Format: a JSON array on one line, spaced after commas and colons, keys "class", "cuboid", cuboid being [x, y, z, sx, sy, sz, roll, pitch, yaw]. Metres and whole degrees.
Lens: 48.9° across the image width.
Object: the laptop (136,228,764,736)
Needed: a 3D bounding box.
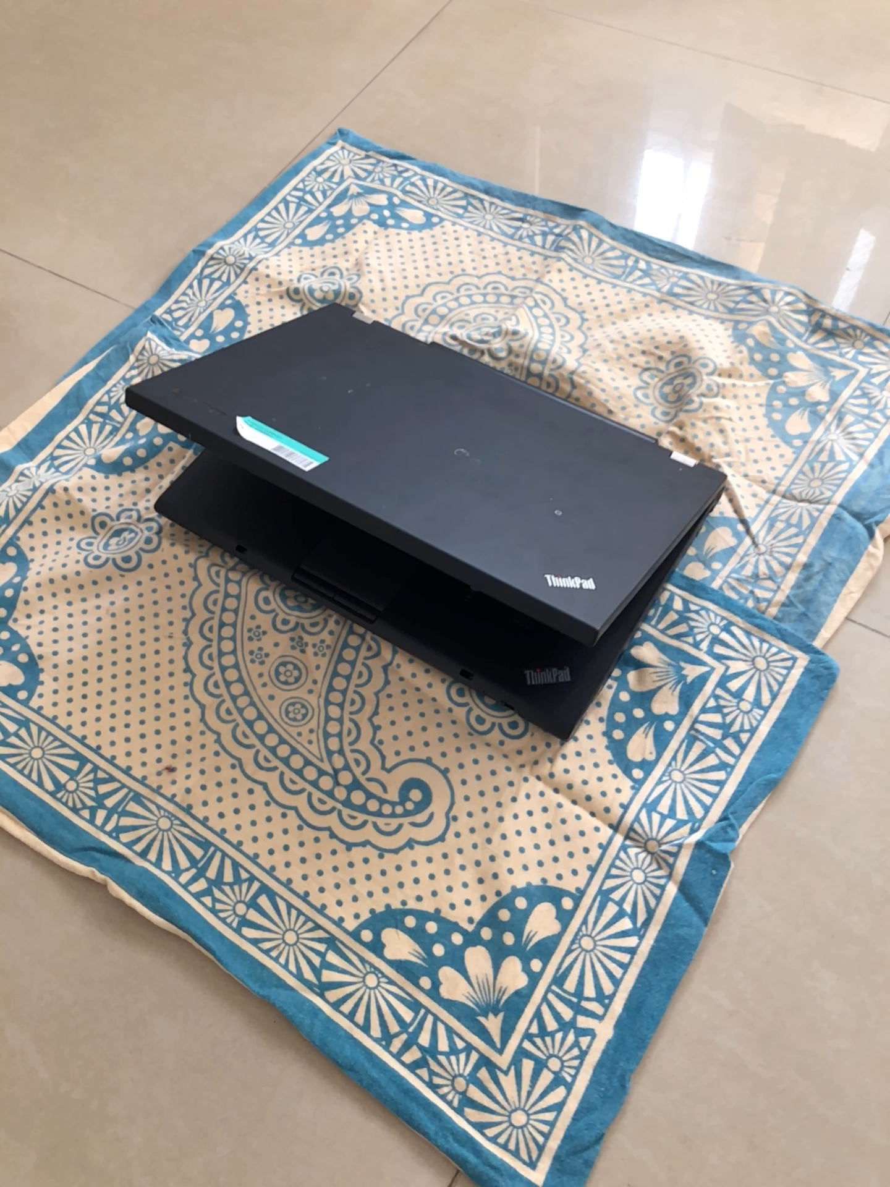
[{"class": "laptop", "cuboid": [0.000, -0.098, 0.703, 0.348, 0.124, 0.241, 28, 63, 24]}]
